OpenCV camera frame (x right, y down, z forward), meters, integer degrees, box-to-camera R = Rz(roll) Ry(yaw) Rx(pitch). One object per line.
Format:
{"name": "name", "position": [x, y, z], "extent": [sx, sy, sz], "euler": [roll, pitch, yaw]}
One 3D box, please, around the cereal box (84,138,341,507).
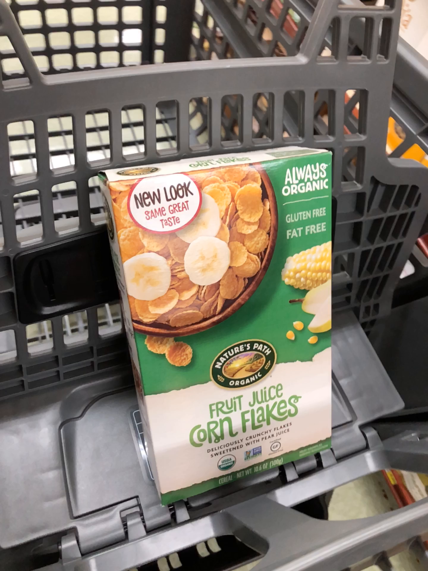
{"name": "cereal box", "position": [0.008, 0.022, 0.346], "extent": [0.150, 0.230, 0.070], "euler": [-13, 22, -17]}
